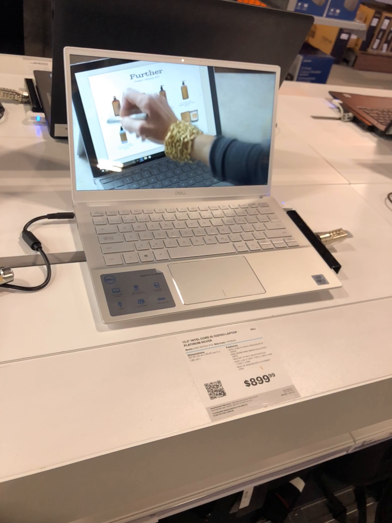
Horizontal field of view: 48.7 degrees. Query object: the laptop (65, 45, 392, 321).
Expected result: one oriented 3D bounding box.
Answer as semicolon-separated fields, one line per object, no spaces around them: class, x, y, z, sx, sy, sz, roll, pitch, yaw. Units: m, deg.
laptop;0.009;-0.117;0.536;0.293;0.165;0.294;-6;45;-20
